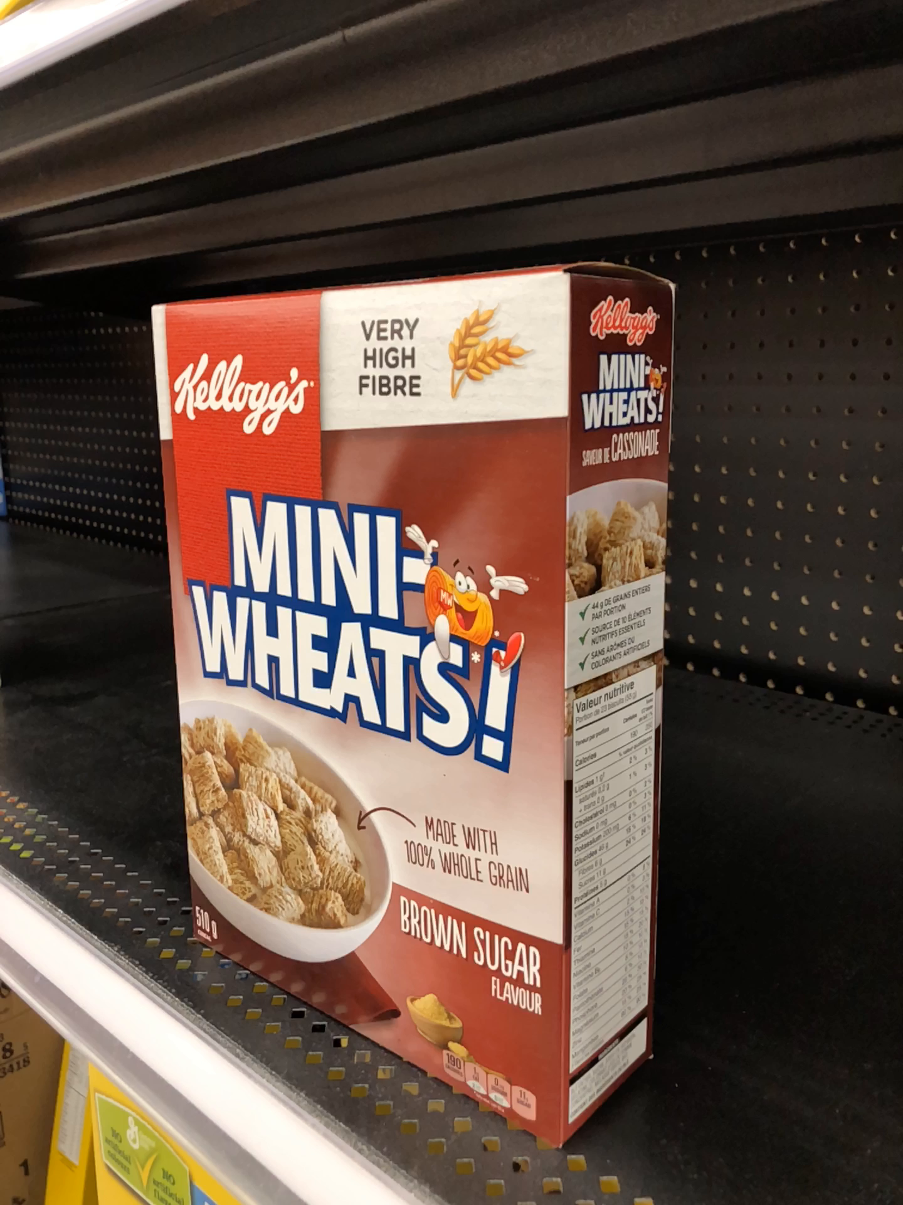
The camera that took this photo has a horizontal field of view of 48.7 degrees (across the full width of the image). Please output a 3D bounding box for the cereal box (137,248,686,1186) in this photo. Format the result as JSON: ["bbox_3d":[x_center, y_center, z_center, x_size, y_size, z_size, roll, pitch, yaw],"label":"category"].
[{"bbox_3d":[-0.023,0.027,0.369,0.200,0.279,0.060,10,16,40],"label":"cereal box"}]
